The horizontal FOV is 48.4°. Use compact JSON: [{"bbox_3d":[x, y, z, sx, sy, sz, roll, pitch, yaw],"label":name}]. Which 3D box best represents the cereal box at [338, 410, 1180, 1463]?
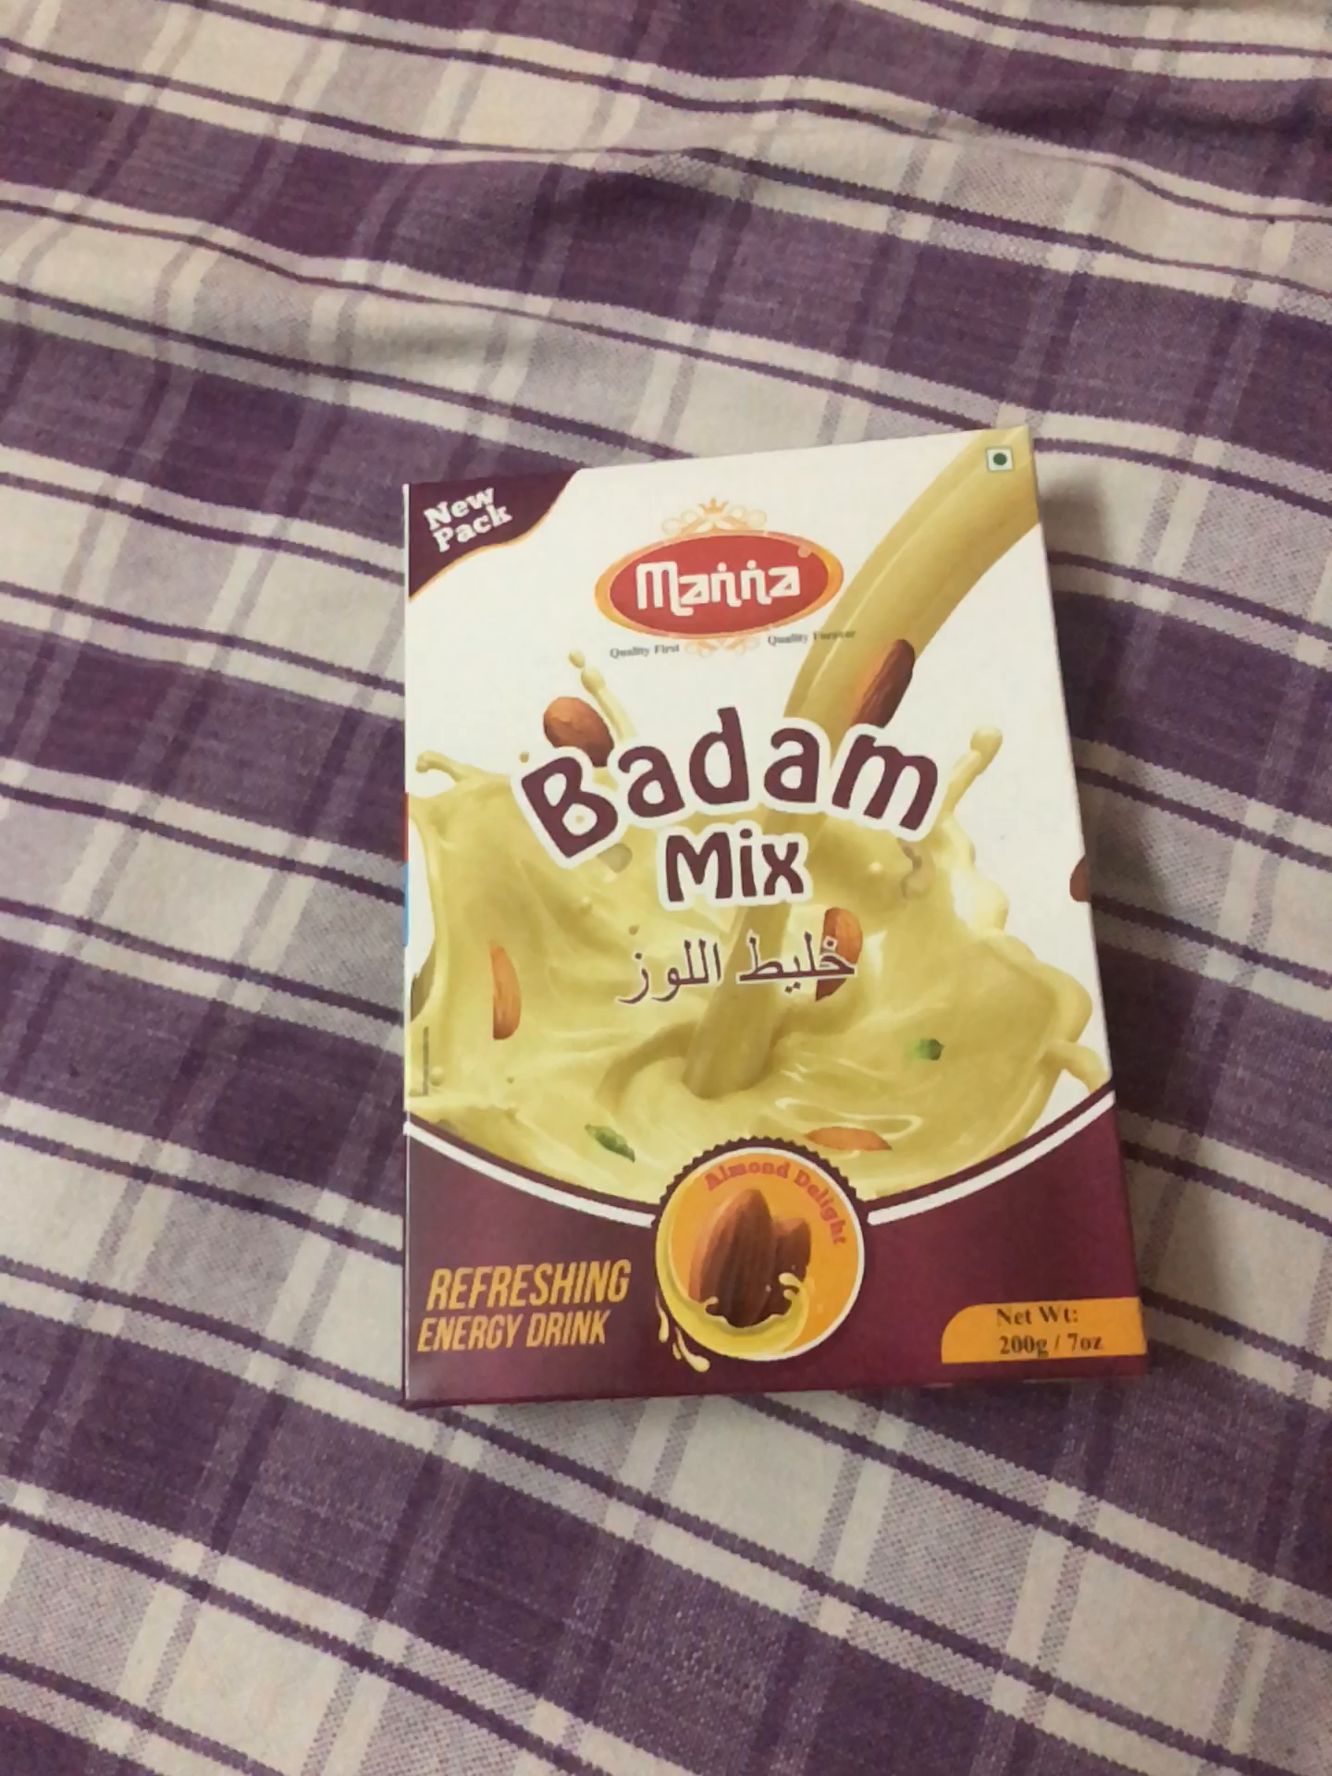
[{"bbox_3d":[0.012,0.008,0.278,0.130,0.050,0.180,-3,74,3],"label":"cereal box"}]
